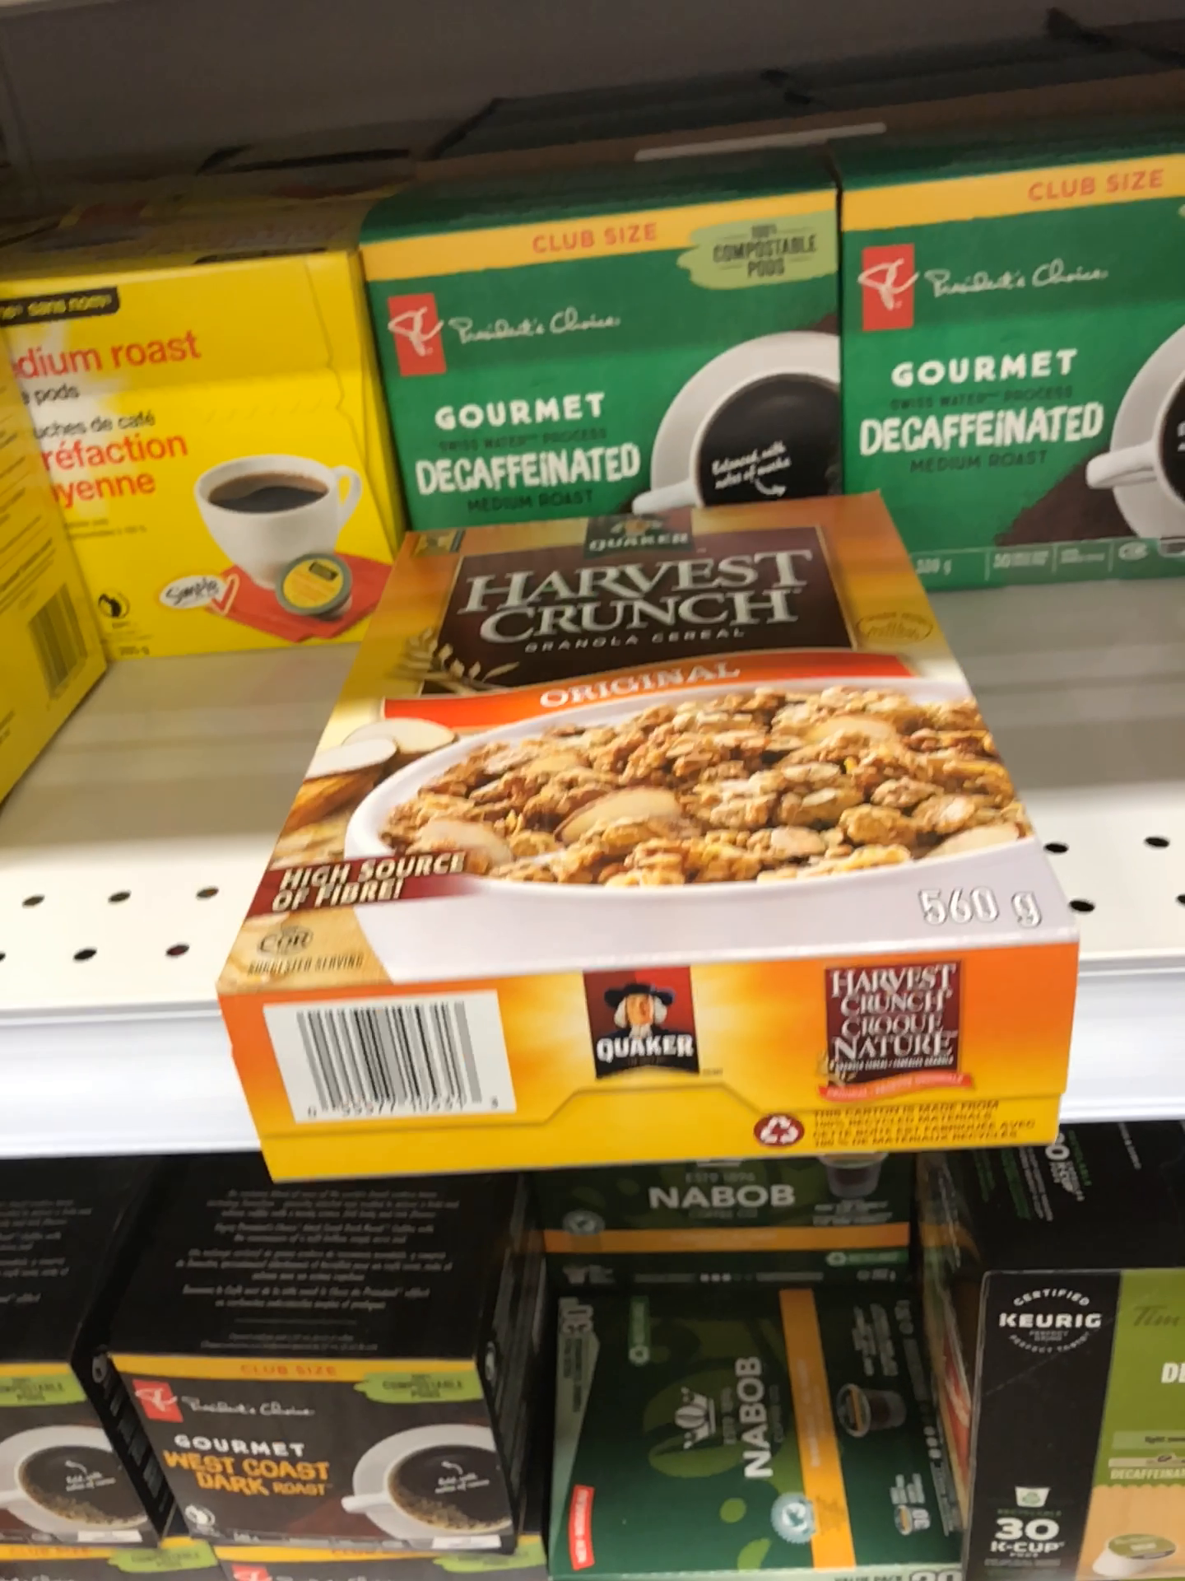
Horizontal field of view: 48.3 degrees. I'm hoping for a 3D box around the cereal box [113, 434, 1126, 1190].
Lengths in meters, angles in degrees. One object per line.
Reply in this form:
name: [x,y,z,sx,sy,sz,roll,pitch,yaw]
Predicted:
cereal box: [0.009,-0.023,0.354,0.170,0.050,0.281,-4,31,5]
